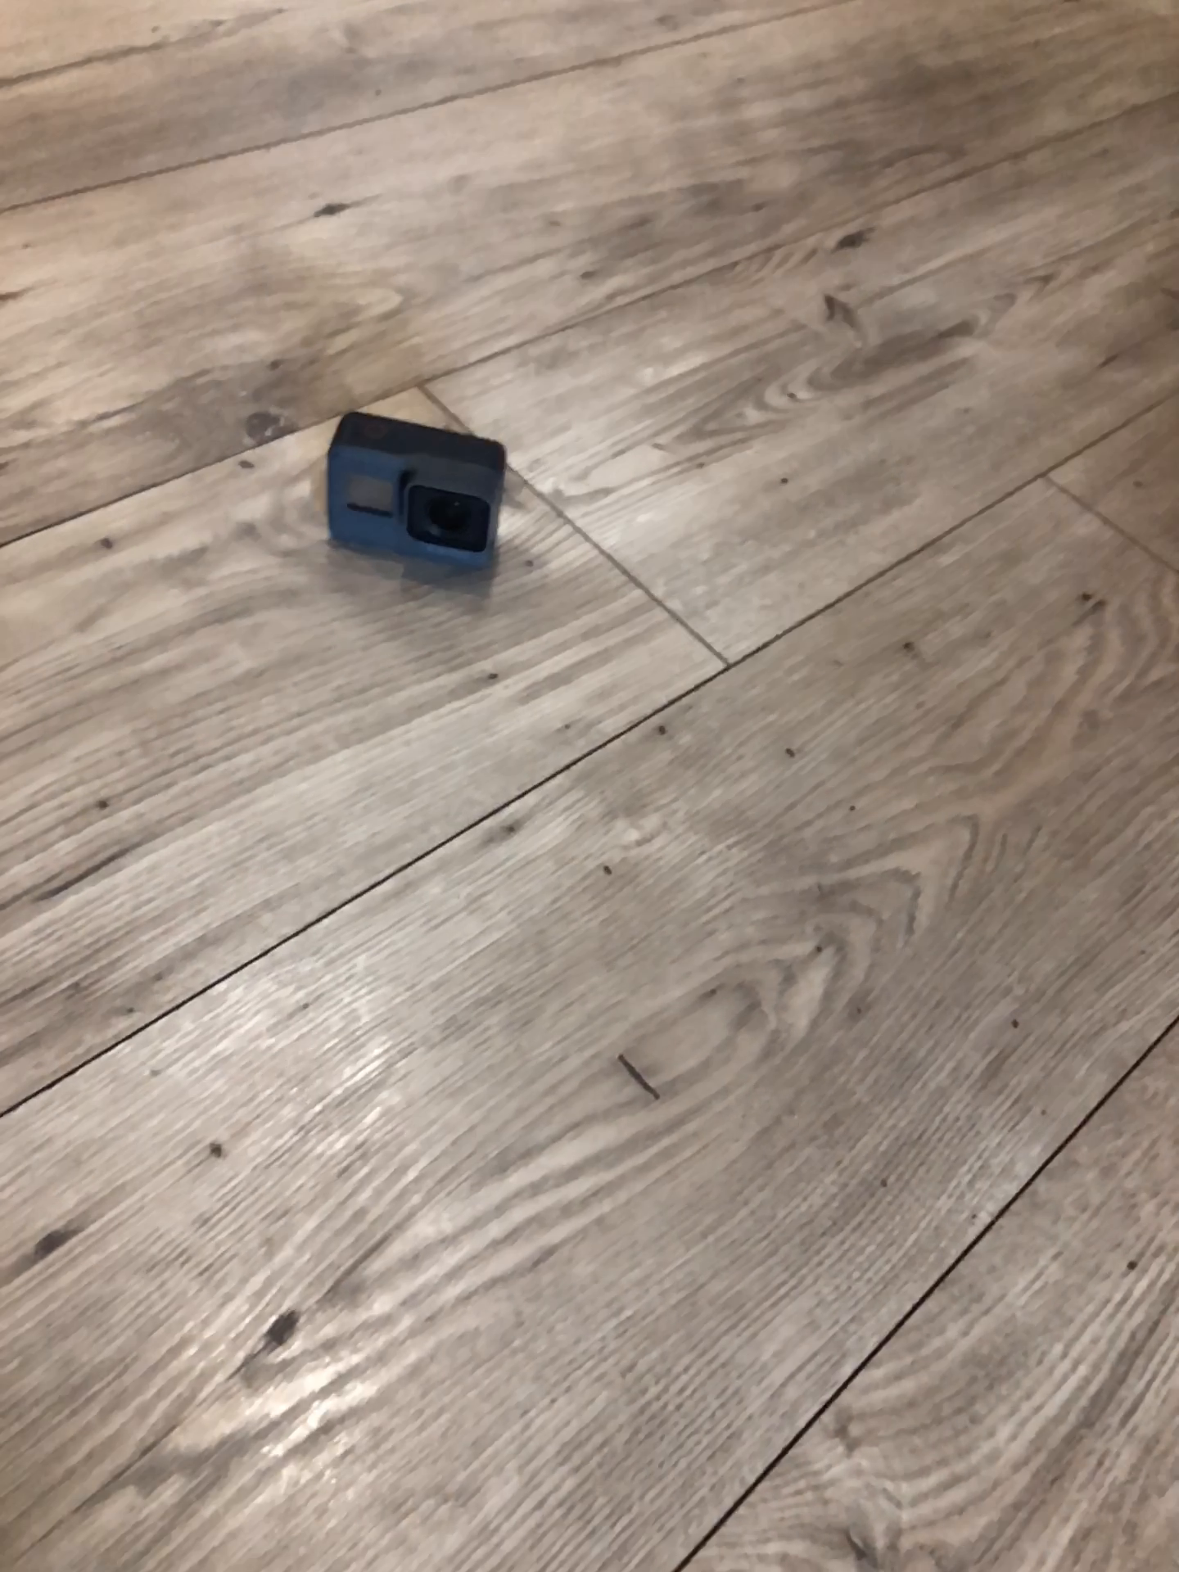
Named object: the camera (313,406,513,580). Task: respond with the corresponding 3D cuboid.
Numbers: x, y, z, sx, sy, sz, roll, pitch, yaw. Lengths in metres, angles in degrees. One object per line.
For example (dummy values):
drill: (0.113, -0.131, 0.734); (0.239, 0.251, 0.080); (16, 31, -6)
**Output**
camera: (-0.064, -0.106, 0.477); (0.065, 0.040, 0.032); (10, 51, -3)
